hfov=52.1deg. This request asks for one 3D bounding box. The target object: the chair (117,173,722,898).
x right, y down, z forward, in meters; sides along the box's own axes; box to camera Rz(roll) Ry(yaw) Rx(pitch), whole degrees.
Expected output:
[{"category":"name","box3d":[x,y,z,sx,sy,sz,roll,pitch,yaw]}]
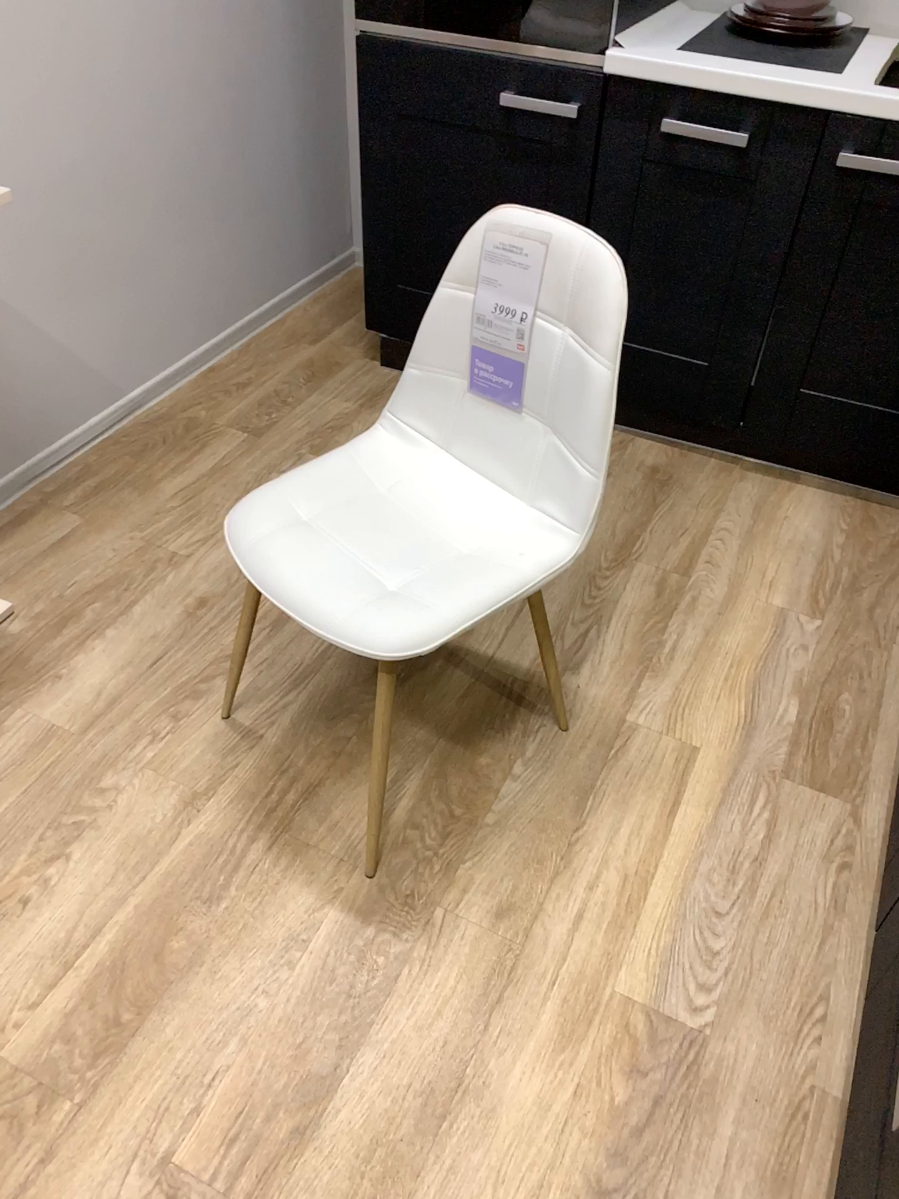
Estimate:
[{"category":"chair","box3d":[-0.044,-0.095,1.401,0.572,0.825,0.471,-31,52,-31]}]
